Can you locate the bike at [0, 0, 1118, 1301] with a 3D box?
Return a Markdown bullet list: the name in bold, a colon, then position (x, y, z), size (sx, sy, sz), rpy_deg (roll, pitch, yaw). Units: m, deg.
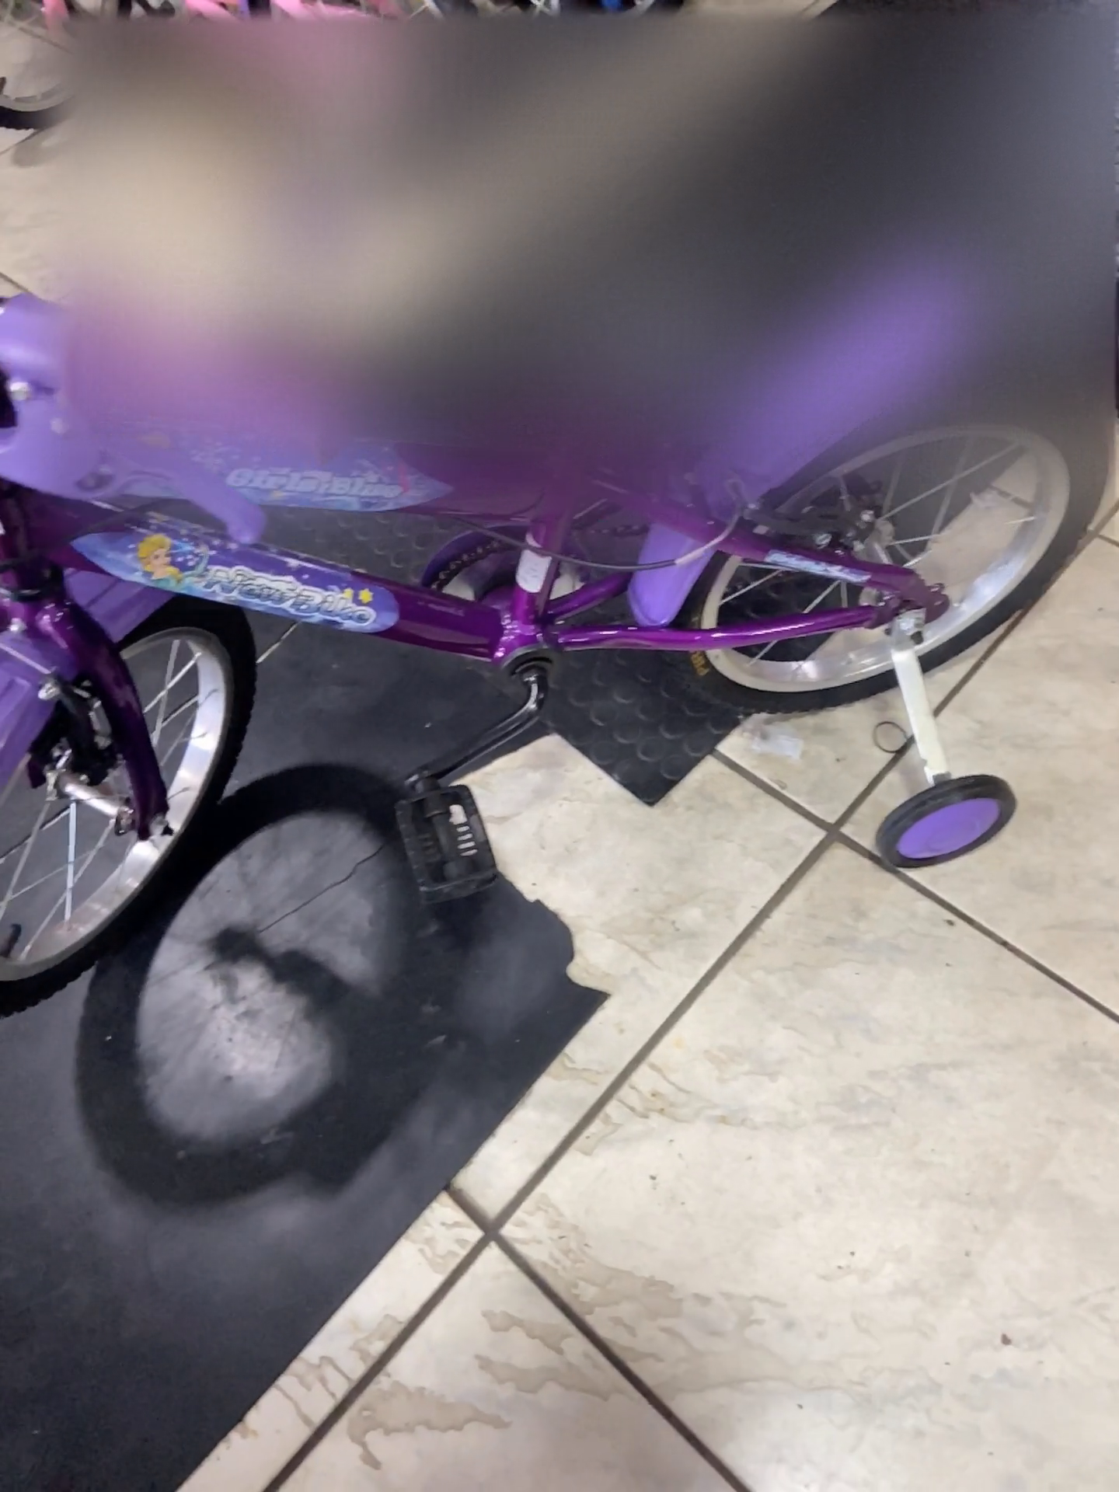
- **bike**: position (-0.051, -0.139, 0.735), size (0.971, 0.743, 0.449), rpy_deg (-24, 56, -8)
